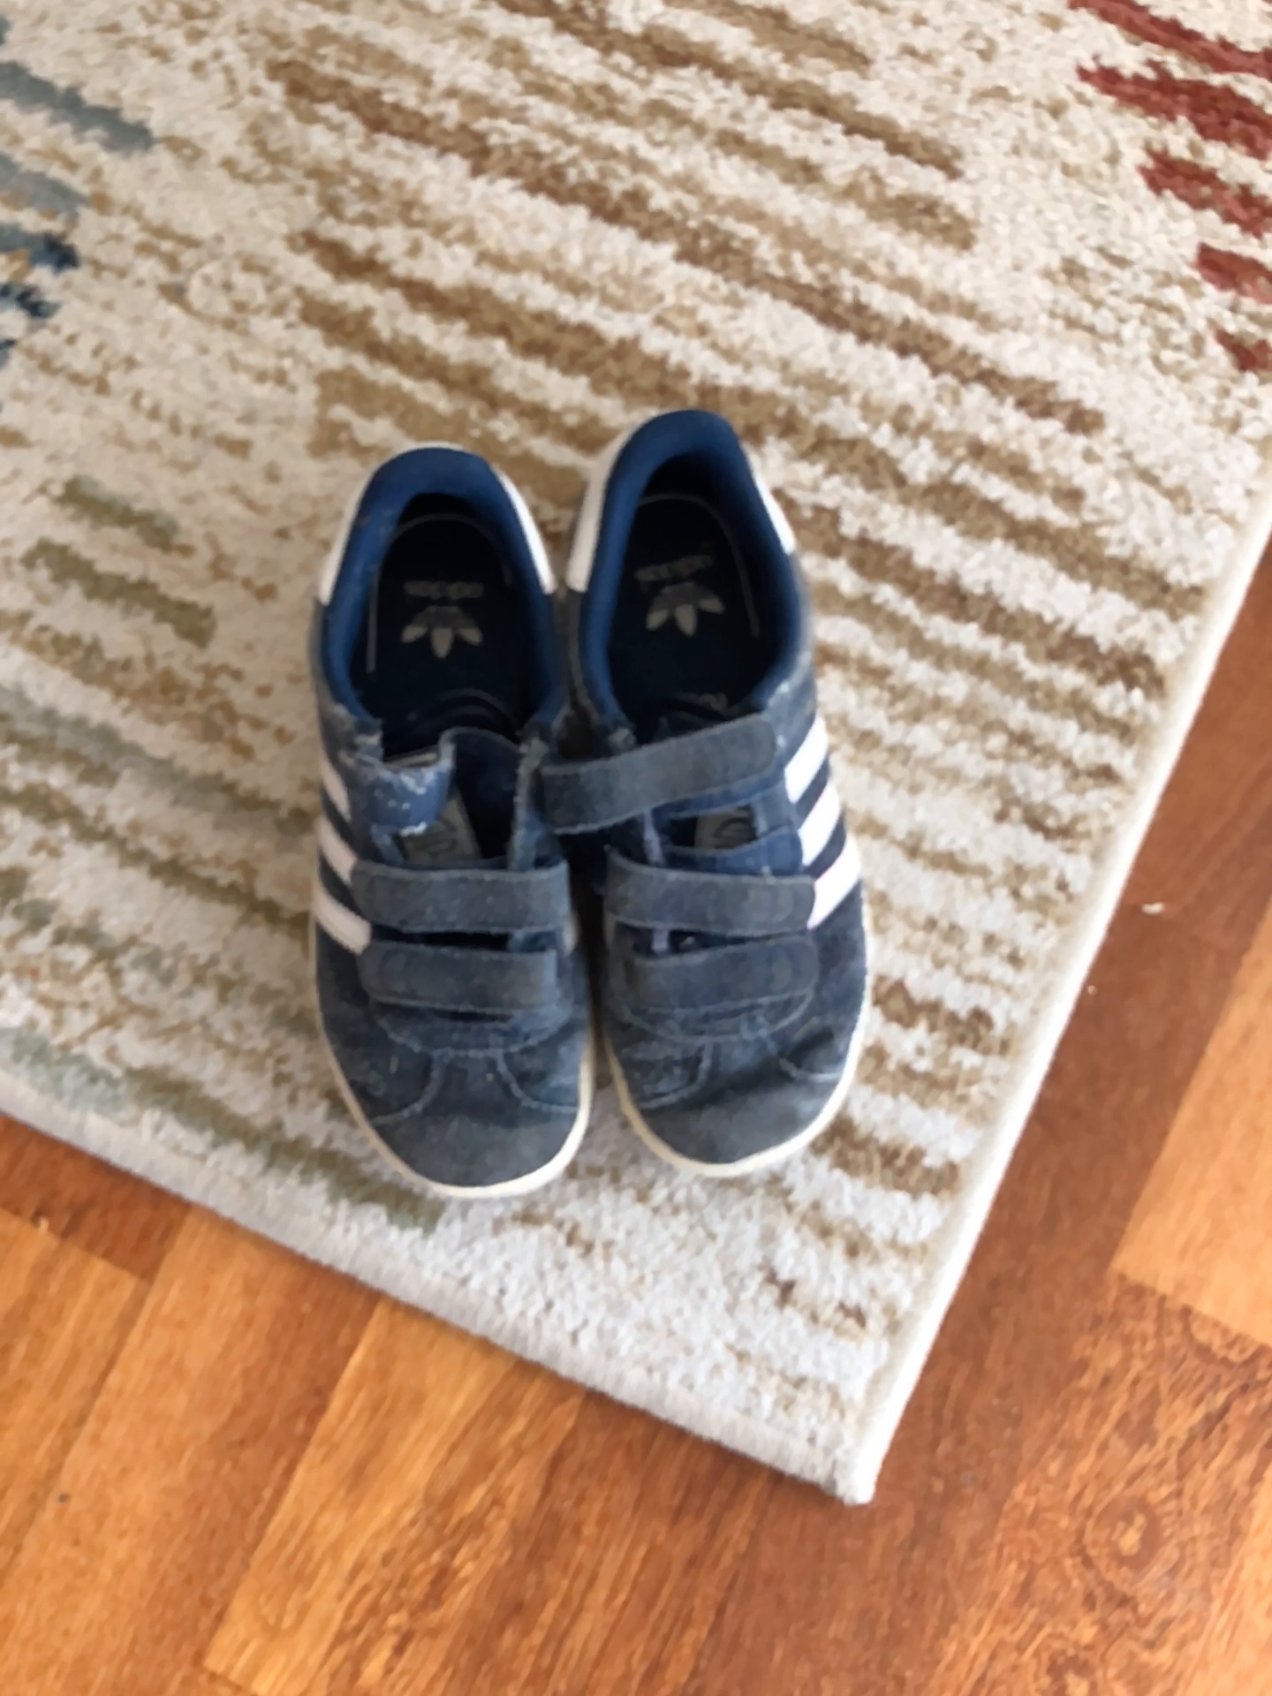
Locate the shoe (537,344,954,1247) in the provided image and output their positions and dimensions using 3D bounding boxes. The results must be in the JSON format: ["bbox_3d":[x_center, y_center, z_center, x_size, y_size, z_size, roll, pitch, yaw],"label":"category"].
[{"bbox_3d":[0.025,-0.014,0.375,0.086,0.052,0.219,-4,84,-1],"label":"shoe"}]

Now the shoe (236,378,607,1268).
[{"bbox_3d":[-0.054,-0.007,0.374,0.084,0.053,0.216,-2,84,-1],"label":"shoe"}]
